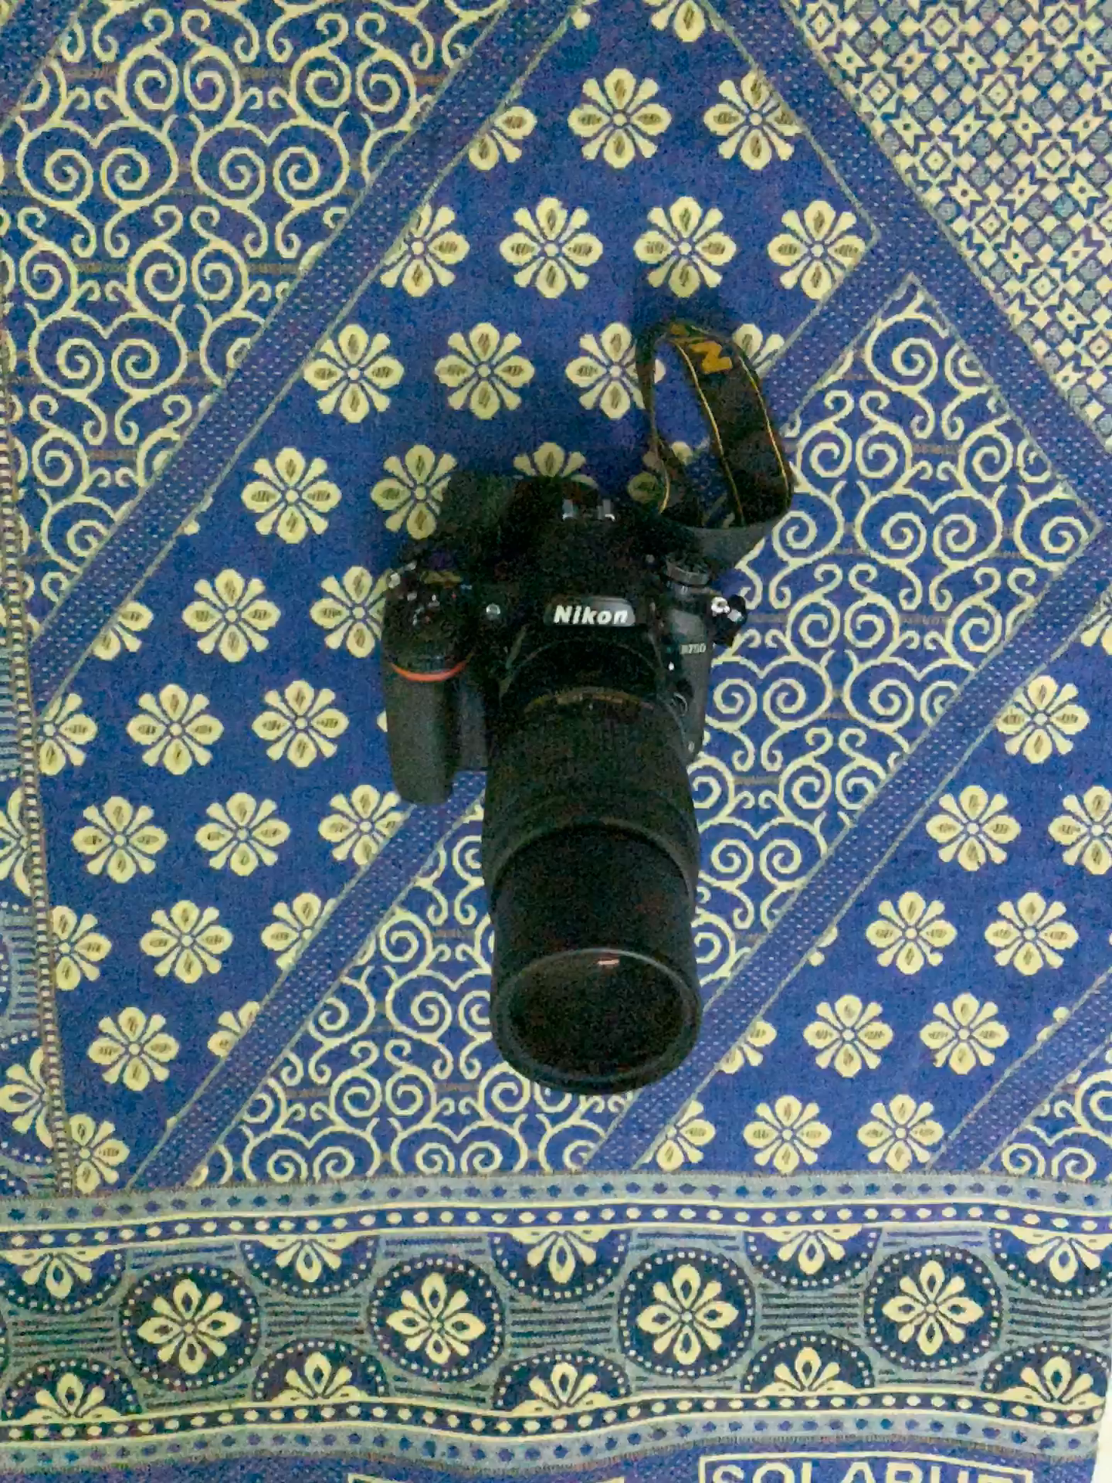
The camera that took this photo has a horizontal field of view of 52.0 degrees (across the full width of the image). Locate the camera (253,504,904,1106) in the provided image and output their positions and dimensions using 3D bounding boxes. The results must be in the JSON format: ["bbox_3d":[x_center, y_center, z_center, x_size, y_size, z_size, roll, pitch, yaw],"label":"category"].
[{"bbox_3d":[0.003,0.007,0.394,0.160,0.191,0.131,1,115,-1],"label":"camera"}]
